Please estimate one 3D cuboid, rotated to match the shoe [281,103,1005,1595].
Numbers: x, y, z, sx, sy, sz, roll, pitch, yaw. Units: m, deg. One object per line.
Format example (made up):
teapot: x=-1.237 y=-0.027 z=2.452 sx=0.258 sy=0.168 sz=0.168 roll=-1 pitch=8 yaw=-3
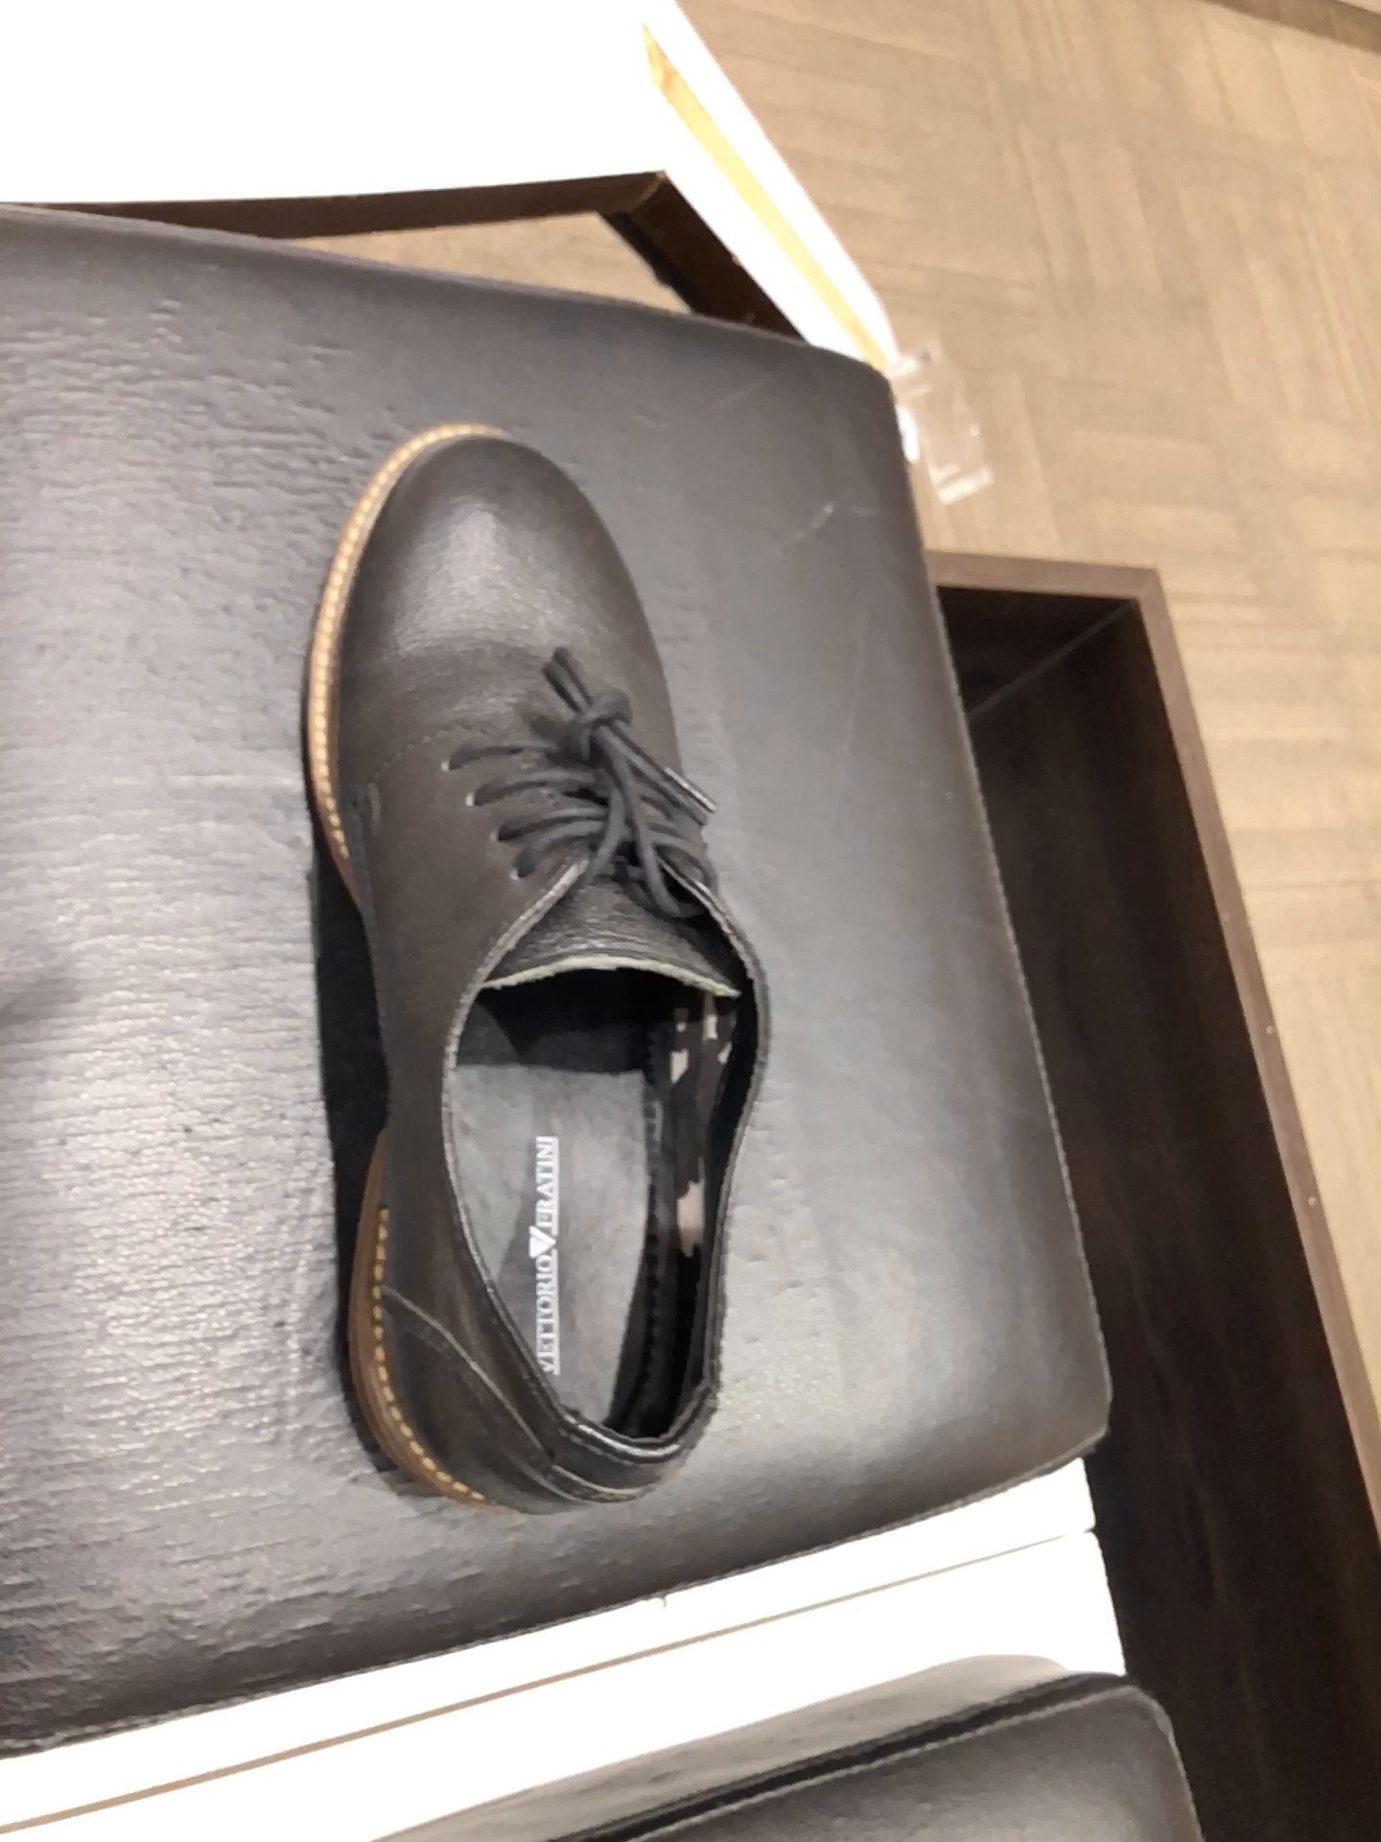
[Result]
shoe: x=-0.025 y=-0.017 z=0.348 sx=0.110 sy=0.100 sz=0.291 roll=2 pitch=72 yaw=-25
